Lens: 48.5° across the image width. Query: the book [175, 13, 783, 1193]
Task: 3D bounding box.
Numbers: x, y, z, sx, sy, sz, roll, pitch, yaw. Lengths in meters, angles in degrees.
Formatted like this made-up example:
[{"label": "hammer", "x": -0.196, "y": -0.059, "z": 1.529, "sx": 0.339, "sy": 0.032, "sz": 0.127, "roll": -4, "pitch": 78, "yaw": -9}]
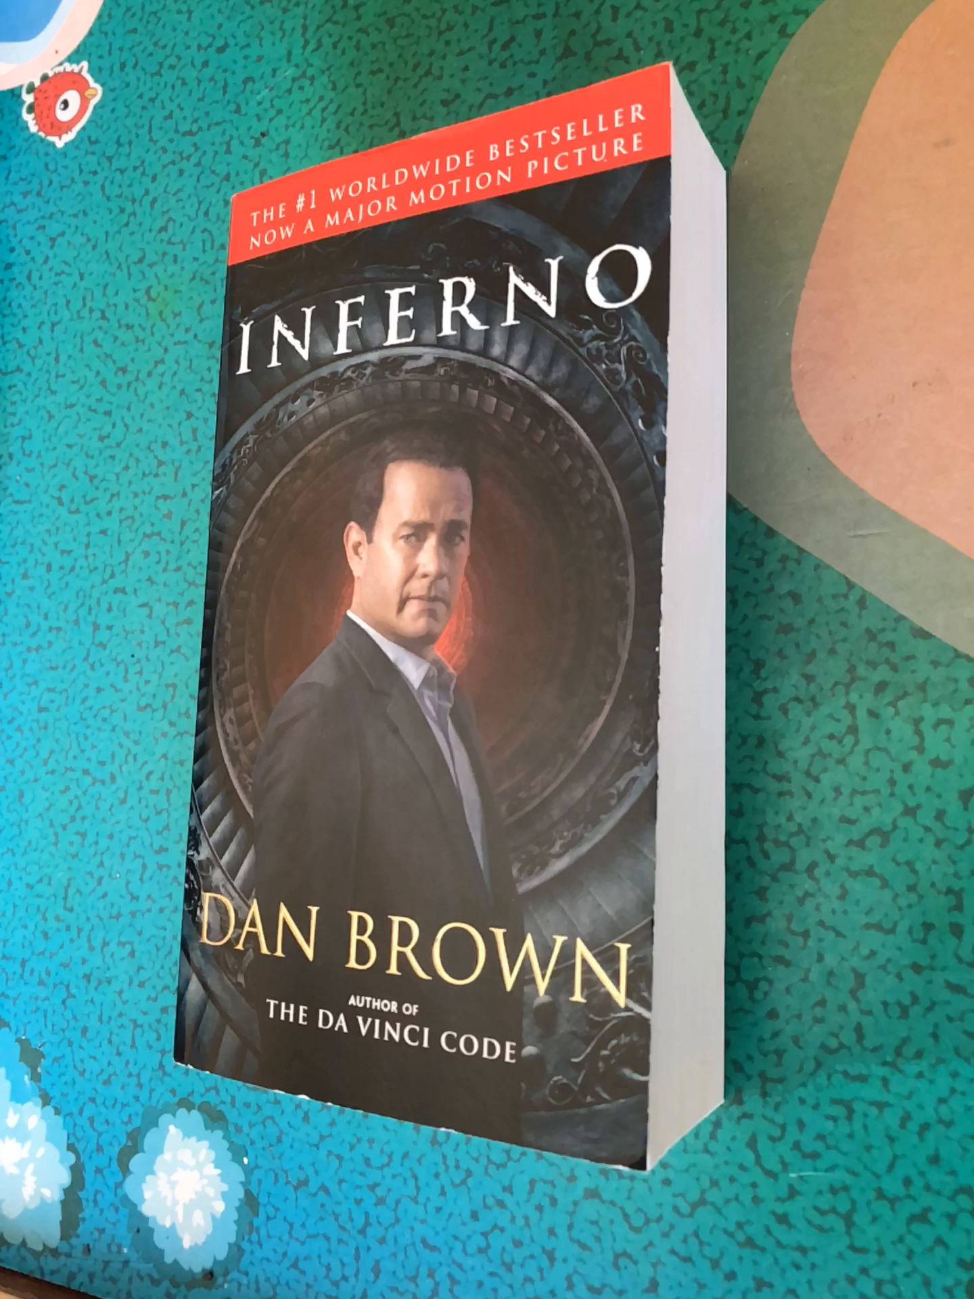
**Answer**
[{"label": "book", "x": 0.001, "y": -0.009, "z": 0.234, "sx": 0.110, "sy": 0.060, "sz": 0.200, "roll": -1, "pitch": 84, "yaw": 28}]
